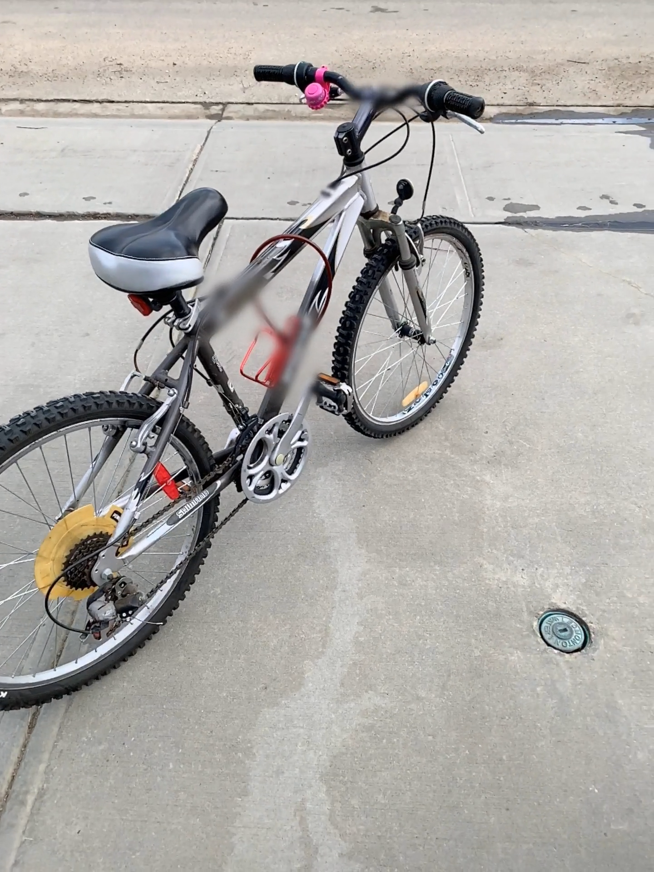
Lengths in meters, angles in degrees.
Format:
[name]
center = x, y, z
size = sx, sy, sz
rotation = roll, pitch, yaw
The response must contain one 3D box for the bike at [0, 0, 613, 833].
[bike]
center = -0.145, -0.189, 1.308
size = 0.540, 0.825, 1.502
rotation = 31, 53, 29
